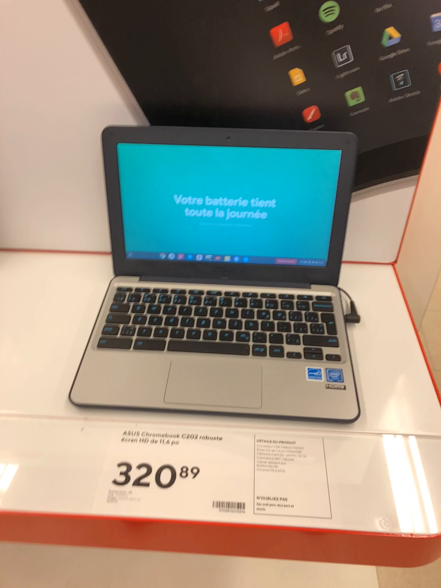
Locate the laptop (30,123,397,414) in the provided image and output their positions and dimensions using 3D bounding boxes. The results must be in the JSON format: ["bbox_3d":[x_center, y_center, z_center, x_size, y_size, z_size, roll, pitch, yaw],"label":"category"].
[{"bbox_3d":[0.001,-0.036,0.502,0.274,0.174,0.231,3,42,2],"label":"laptop"}]
